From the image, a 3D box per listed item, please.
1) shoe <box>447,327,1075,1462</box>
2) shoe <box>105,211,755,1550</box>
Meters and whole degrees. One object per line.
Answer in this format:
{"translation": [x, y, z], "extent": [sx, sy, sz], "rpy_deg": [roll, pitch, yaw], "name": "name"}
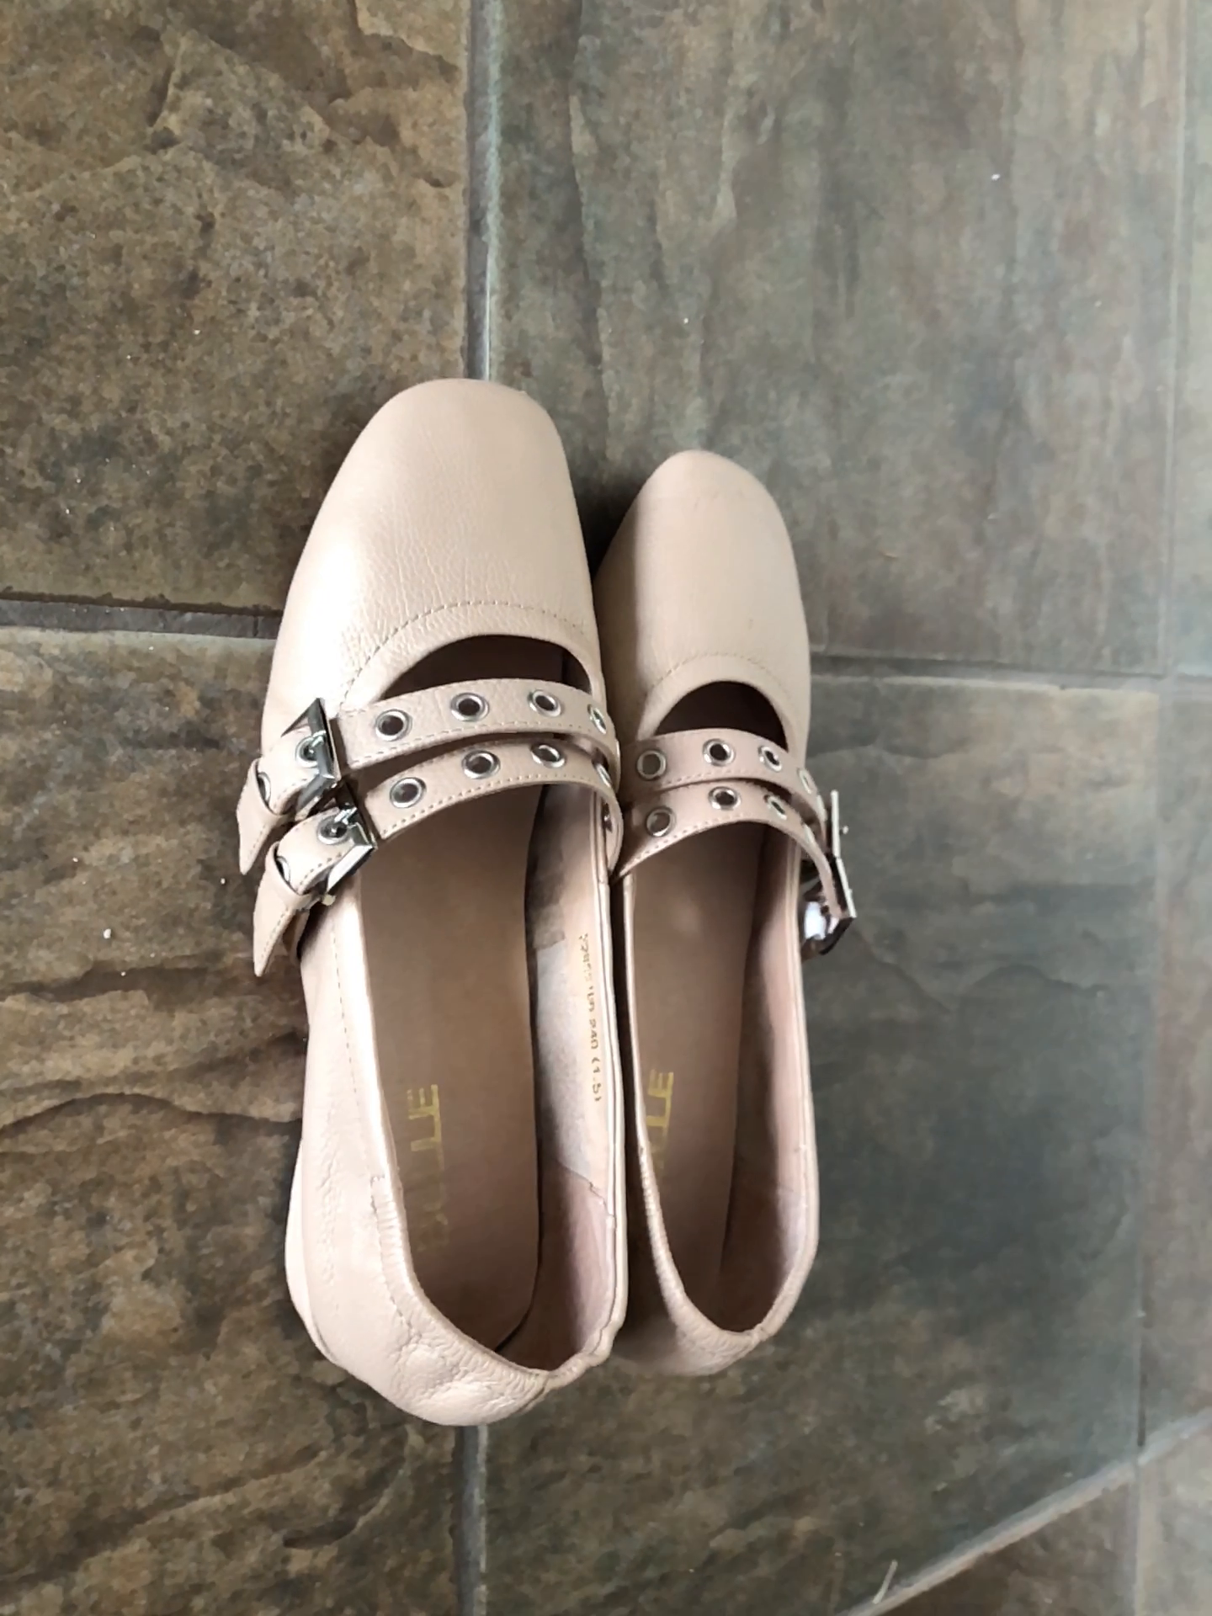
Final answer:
{"translation": [0.040, 0.021, 0.354], "extent": [0.090, 0.090, 0.250], "rpy_deg": [12, 86, -36], "name": "shoe"}
{"translation": [-0.043, 0.015, 0.315], "extent": [0.100, 0.090, 0.250], "rpy_deg": [5, 90, -36], "name": "shoe"}
